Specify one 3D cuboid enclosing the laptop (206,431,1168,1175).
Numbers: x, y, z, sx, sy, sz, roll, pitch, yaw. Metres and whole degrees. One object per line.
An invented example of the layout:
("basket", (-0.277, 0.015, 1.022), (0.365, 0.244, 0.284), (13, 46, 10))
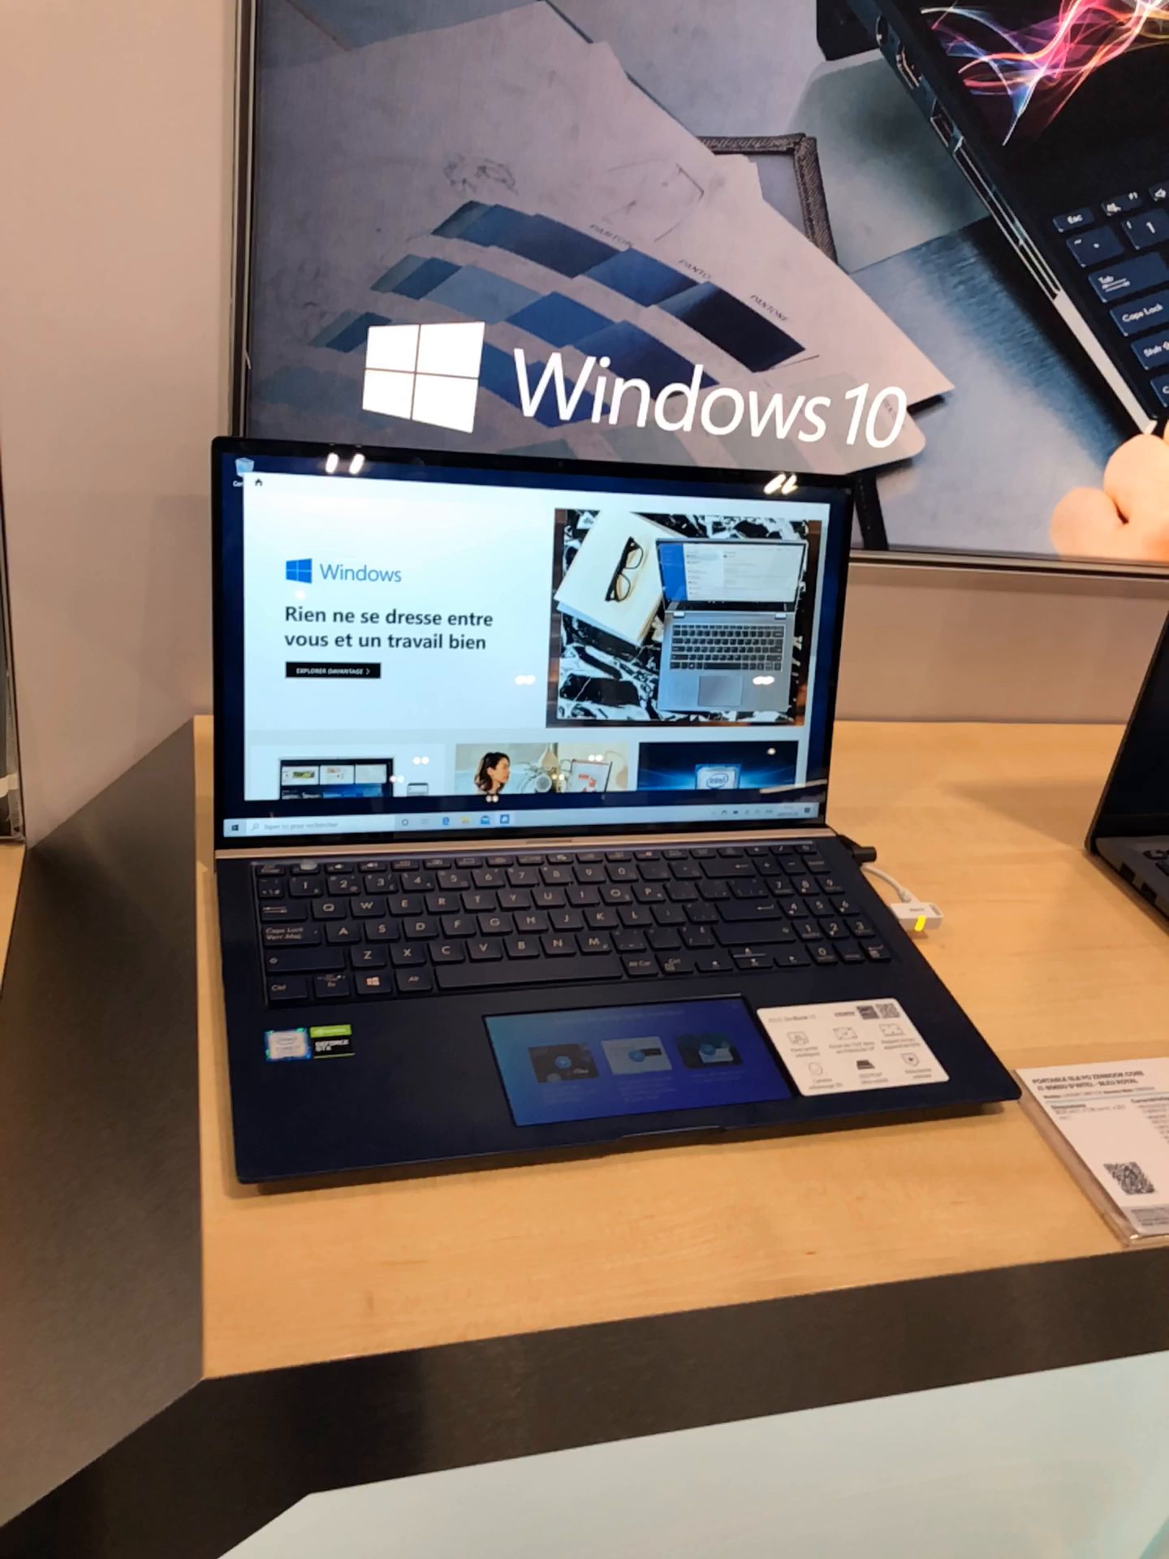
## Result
("laptop", (0.011, -0.009, 0.587), (0.338, 0.183, 0.274), (0, 33, -19))
